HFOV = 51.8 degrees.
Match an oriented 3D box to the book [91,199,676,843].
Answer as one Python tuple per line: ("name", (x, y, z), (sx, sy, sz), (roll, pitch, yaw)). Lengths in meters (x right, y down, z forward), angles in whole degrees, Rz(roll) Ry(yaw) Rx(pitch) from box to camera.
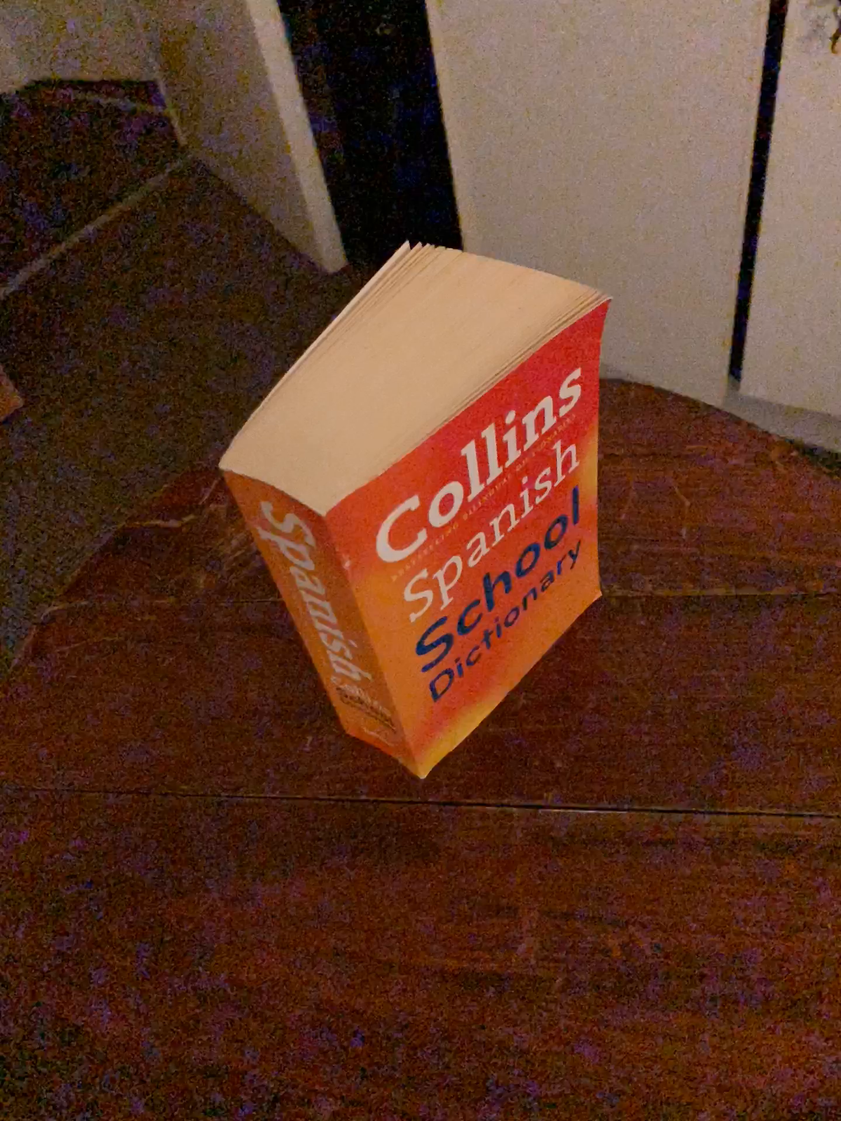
("book", (0.003, -0.014, 0.296), (0.080, 0.149, 0.140), (27, 64, 41))
